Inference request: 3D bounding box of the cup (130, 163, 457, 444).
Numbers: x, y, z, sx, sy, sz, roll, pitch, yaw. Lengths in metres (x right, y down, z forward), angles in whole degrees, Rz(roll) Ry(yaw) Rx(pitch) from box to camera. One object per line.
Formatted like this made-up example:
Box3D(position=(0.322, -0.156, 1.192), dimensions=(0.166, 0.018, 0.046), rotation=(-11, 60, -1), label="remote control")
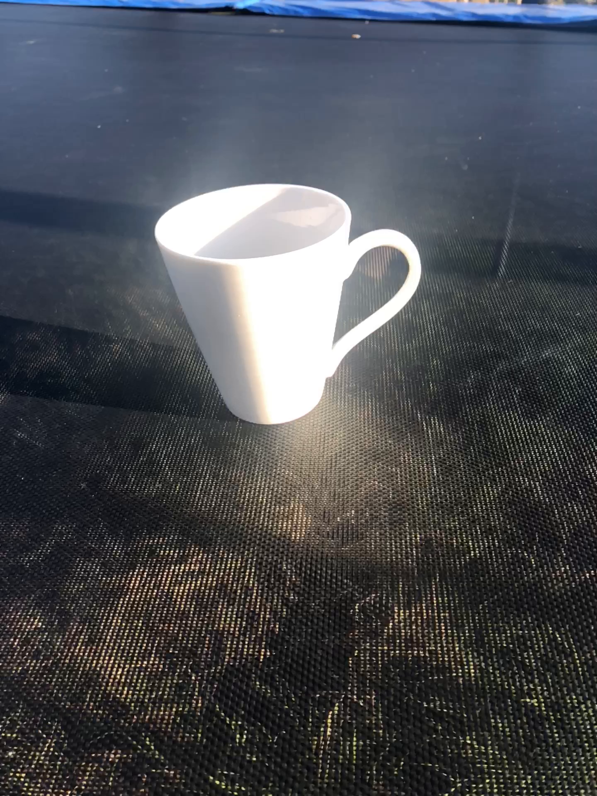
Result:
Box3D(position=(0.004, -0.048, 0.325), dimensions=(0.129, 0.094, 0.098), rotation=(-3, 35, 6), label="cup")
